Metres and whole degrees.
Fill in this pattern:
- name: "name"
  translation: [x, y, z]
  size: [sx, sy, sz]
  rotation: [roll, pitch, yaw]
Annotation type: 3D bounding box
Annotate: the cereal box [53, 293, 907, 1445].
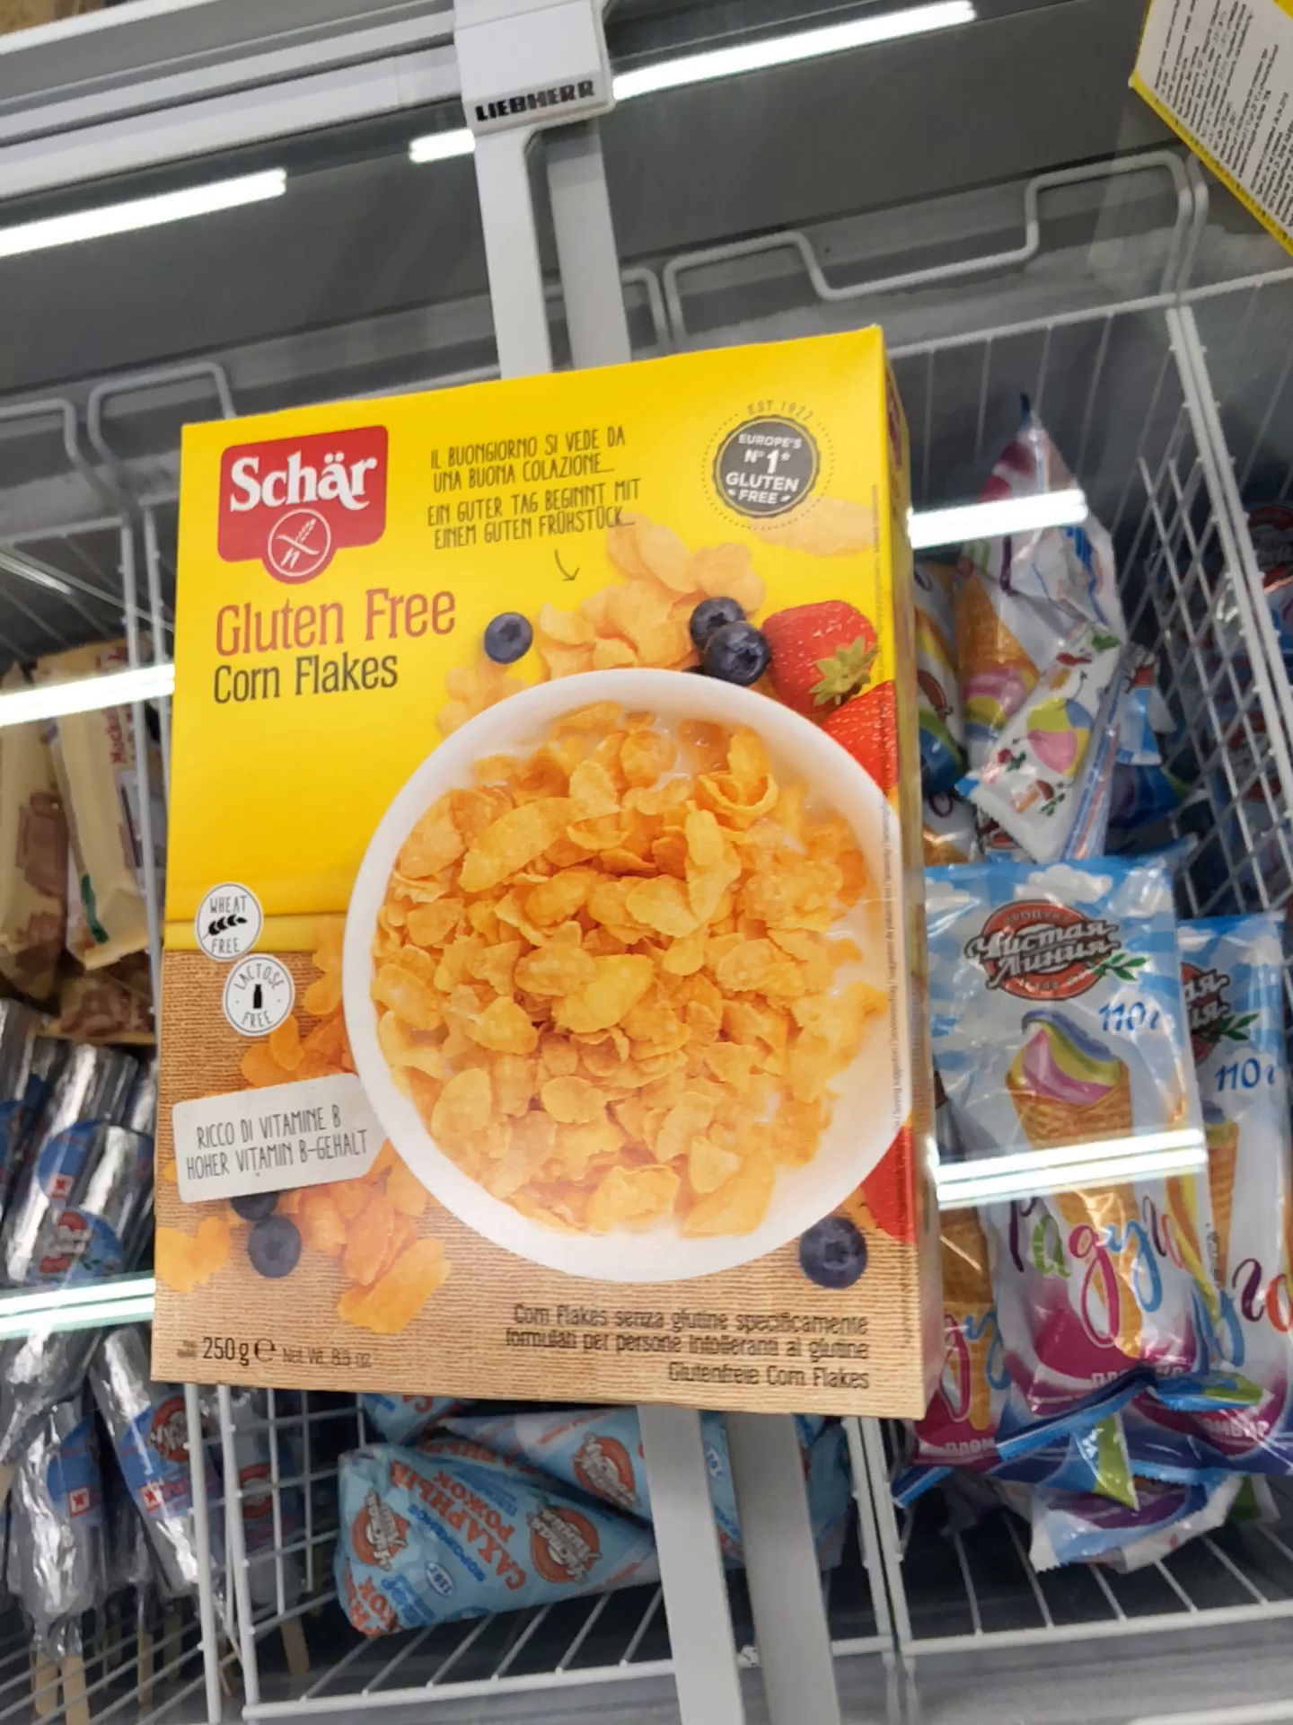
- name: "cereal box"
  translation: [-0.039, 0.003, 0.383]
  size: [0.200, 0.080, 0.260]
  rotation: [-3, 81, 14]
